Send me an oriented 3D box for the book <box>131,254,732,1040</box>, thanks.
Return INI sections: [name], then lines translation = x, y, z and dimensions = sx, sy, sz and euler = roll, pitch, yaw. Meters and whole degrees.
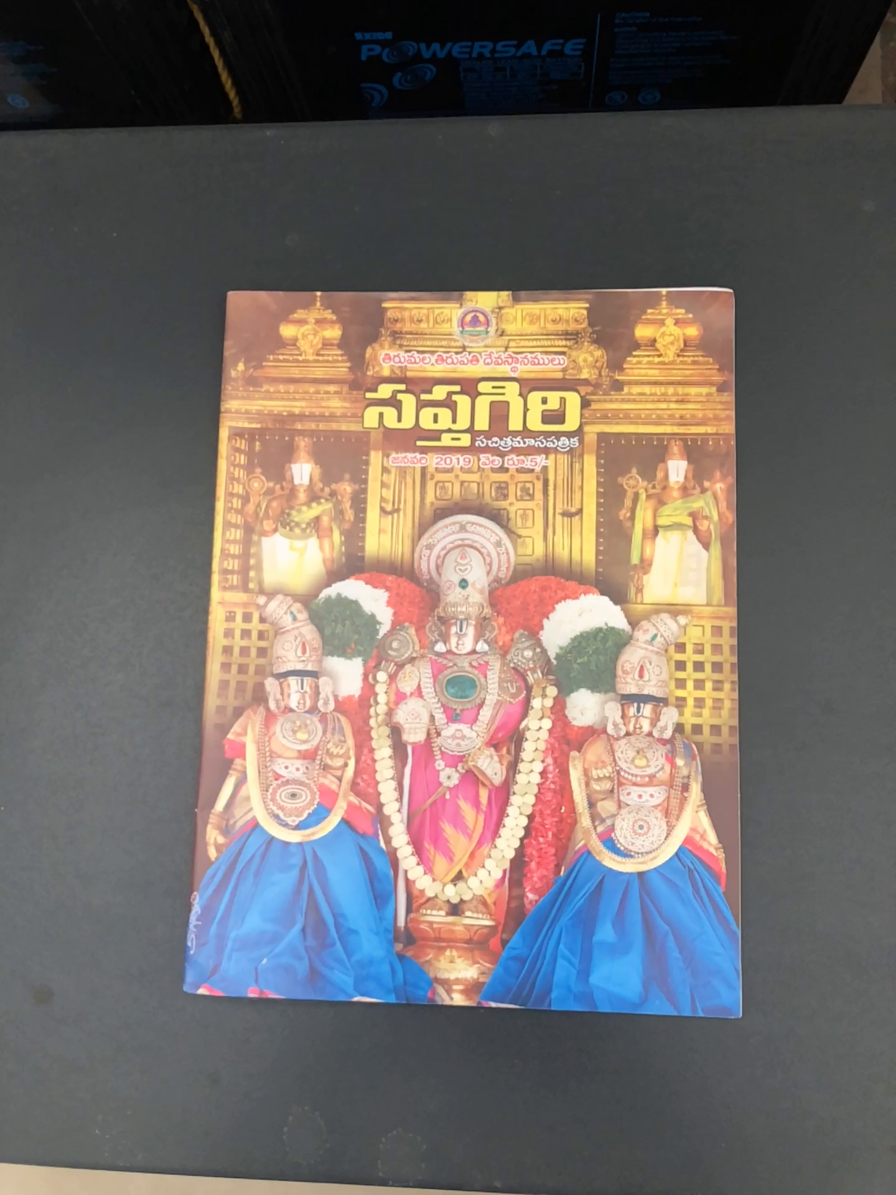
[book]
translation = -0.003, 0.010, 0.363
dimensions = 0.200, 0.030, 0.270
euler = 1, 82, 5
